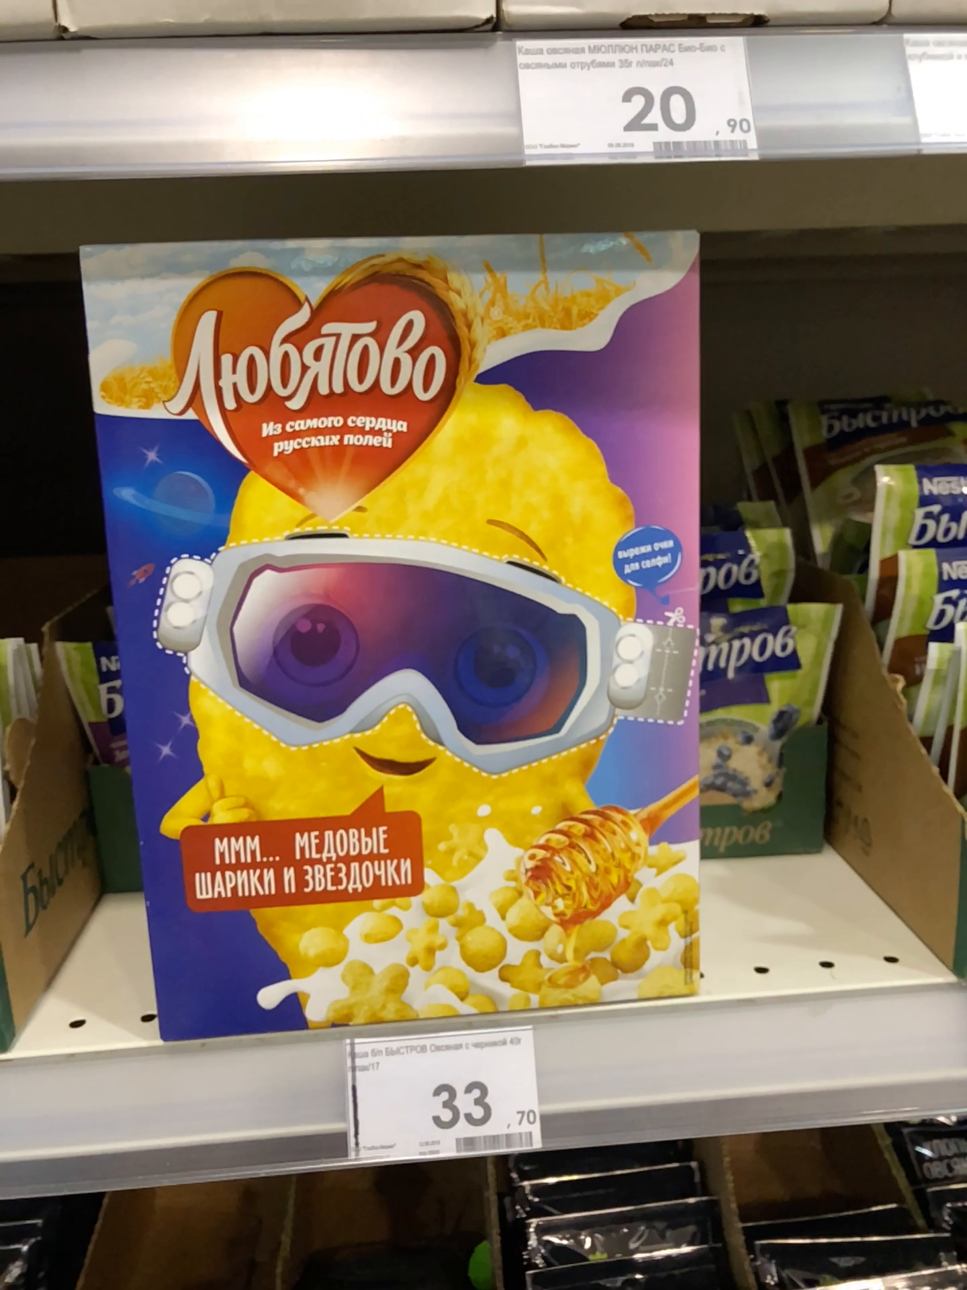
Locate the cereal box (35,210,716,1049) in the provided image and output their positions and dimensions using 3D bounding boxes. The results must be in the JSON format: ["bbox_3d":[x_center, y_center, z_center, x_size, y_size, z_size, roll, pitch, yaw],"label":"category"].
[{"bbox_3d":[-0.026,-0.003,0.364,0.200,0.259,0.050,-3,11,-5],"label":"cereal box"}]
